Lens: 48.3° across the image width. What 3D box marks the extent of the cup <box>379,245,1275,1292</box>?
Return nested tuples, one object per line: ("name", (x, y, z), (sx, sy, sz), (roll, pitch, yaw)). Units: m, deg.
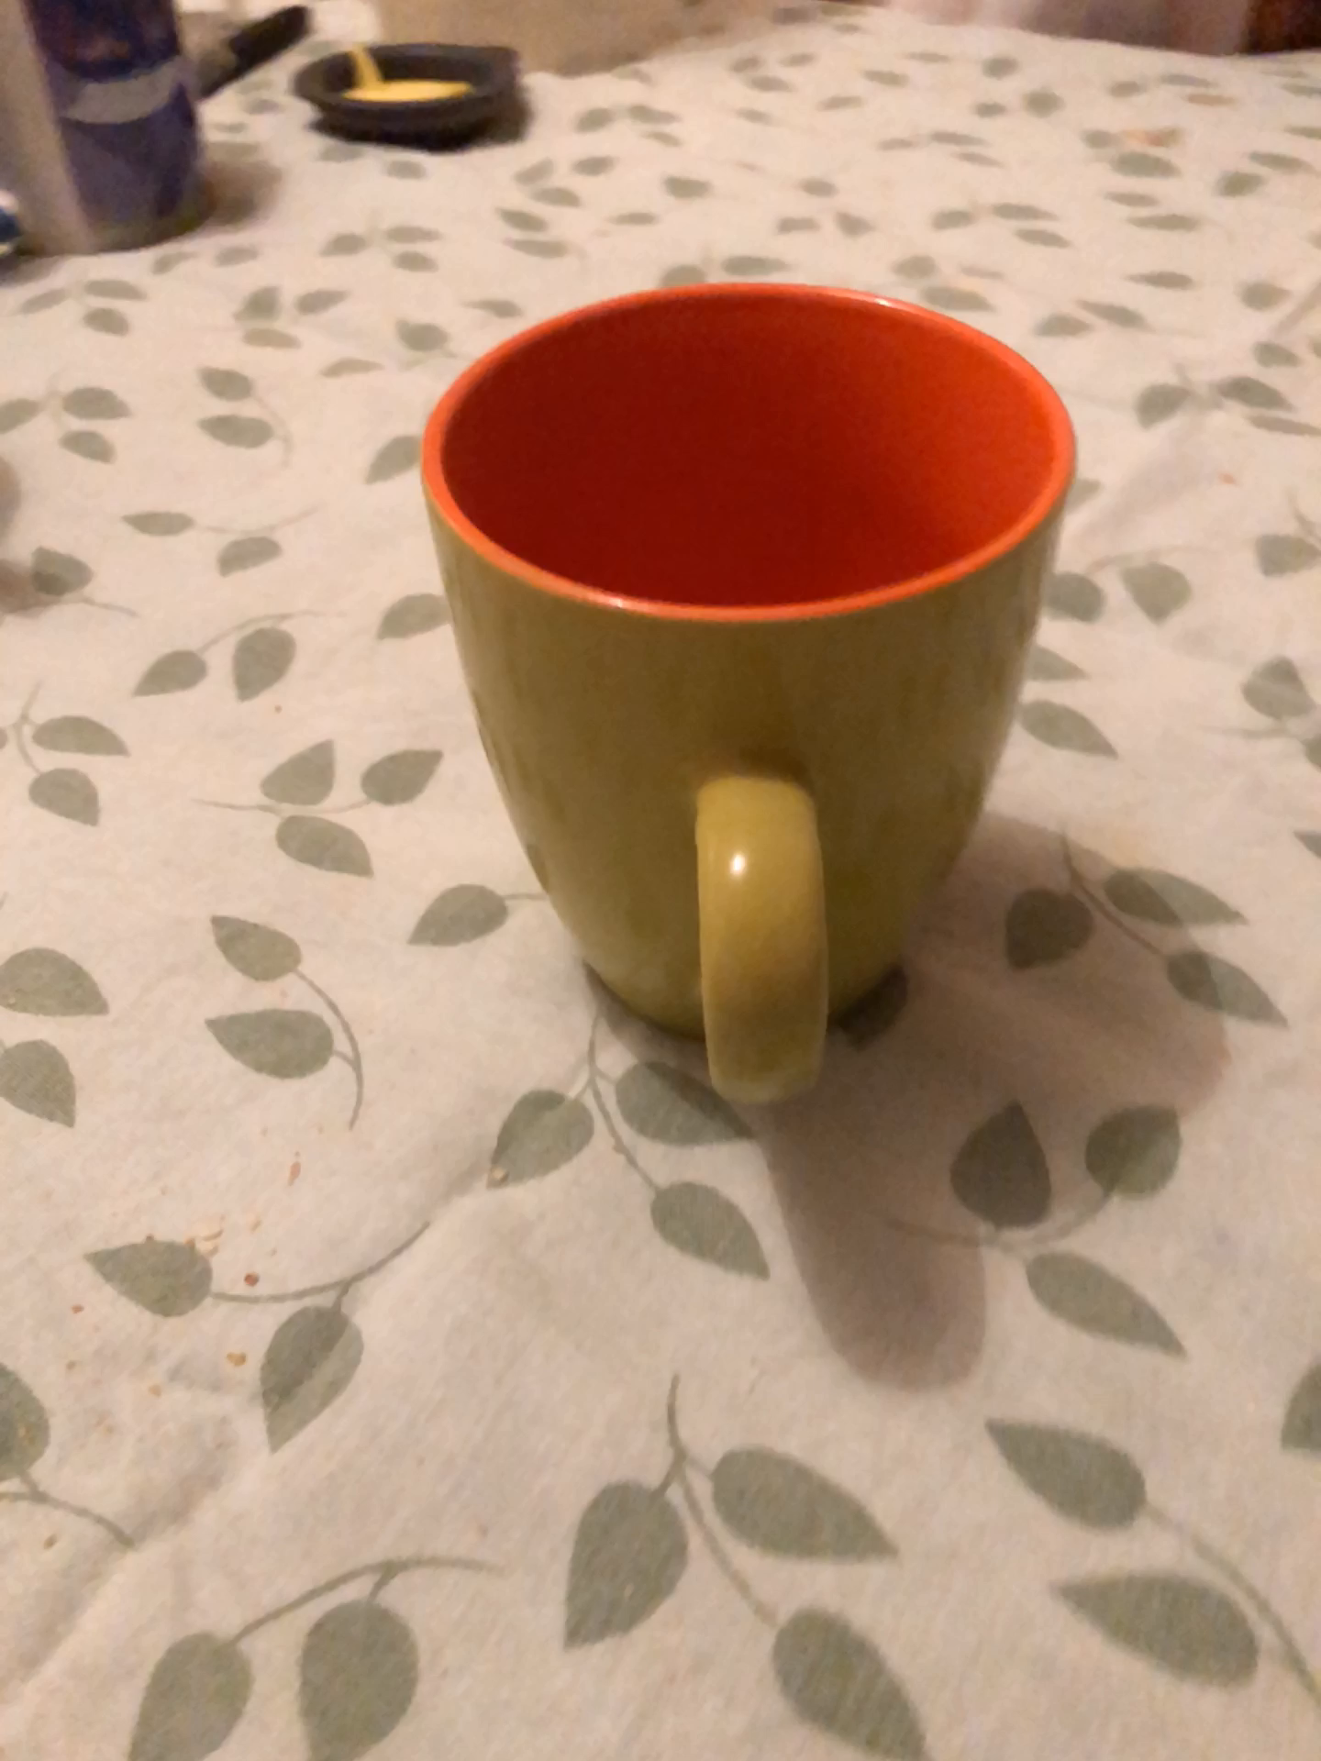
("cup", (0.011, -0.021, 0.220), (0.090, 0.089, 0.121), (-7, 46, -4))
